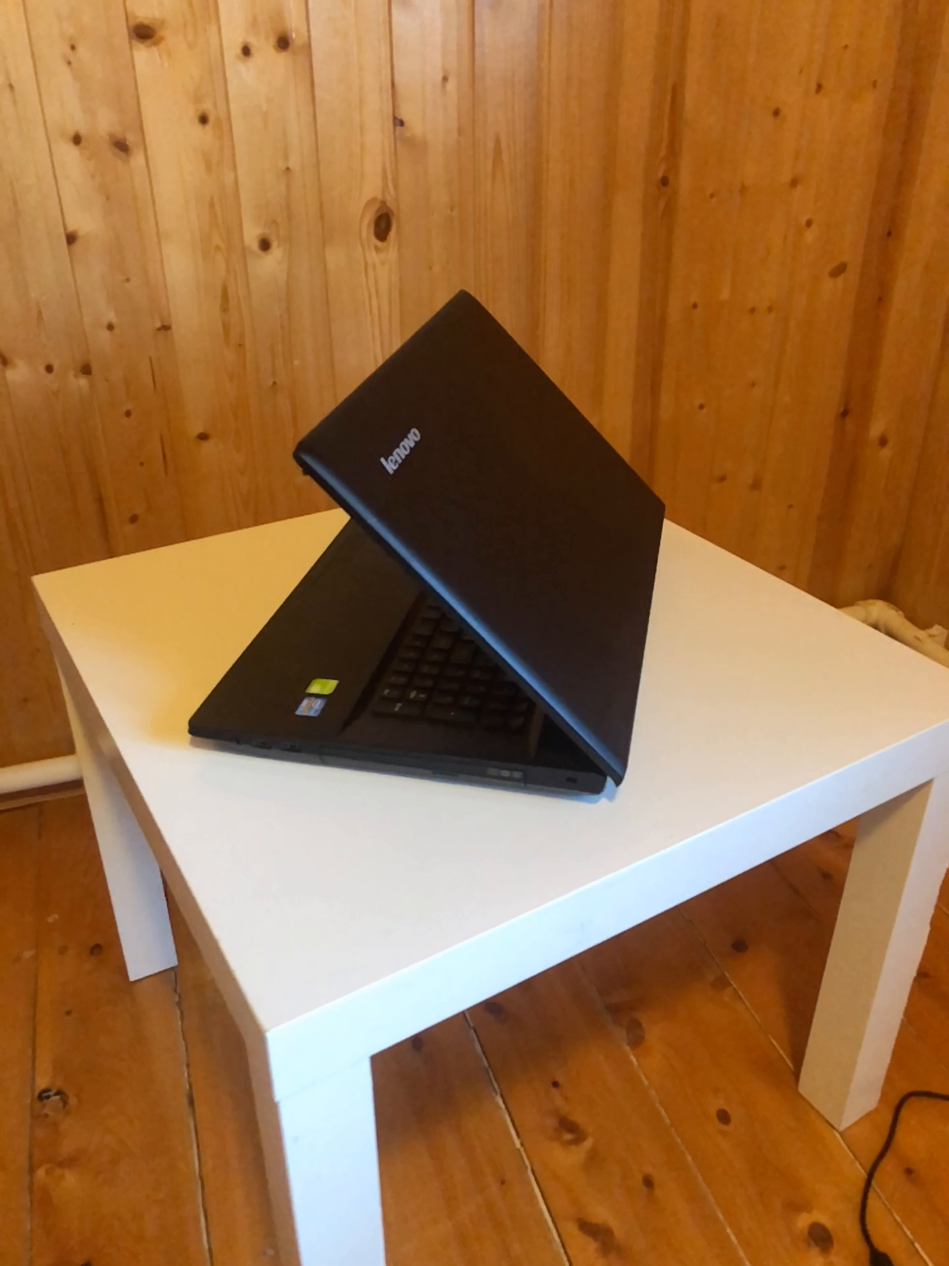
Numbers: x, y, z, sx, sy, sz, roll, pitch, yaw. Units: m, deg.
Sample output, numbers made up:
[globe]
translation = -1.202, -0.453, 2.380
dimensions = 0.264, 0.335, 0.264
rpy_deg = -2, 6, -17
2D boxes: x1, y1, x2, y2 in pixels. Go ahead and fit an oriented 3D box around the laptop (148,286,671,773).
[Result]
[laptop]
translation = -0.009, -0.109, 0.751
dimensions = 0.260, 0.179, 0.391
rpy_deg = 6, 31, 11
